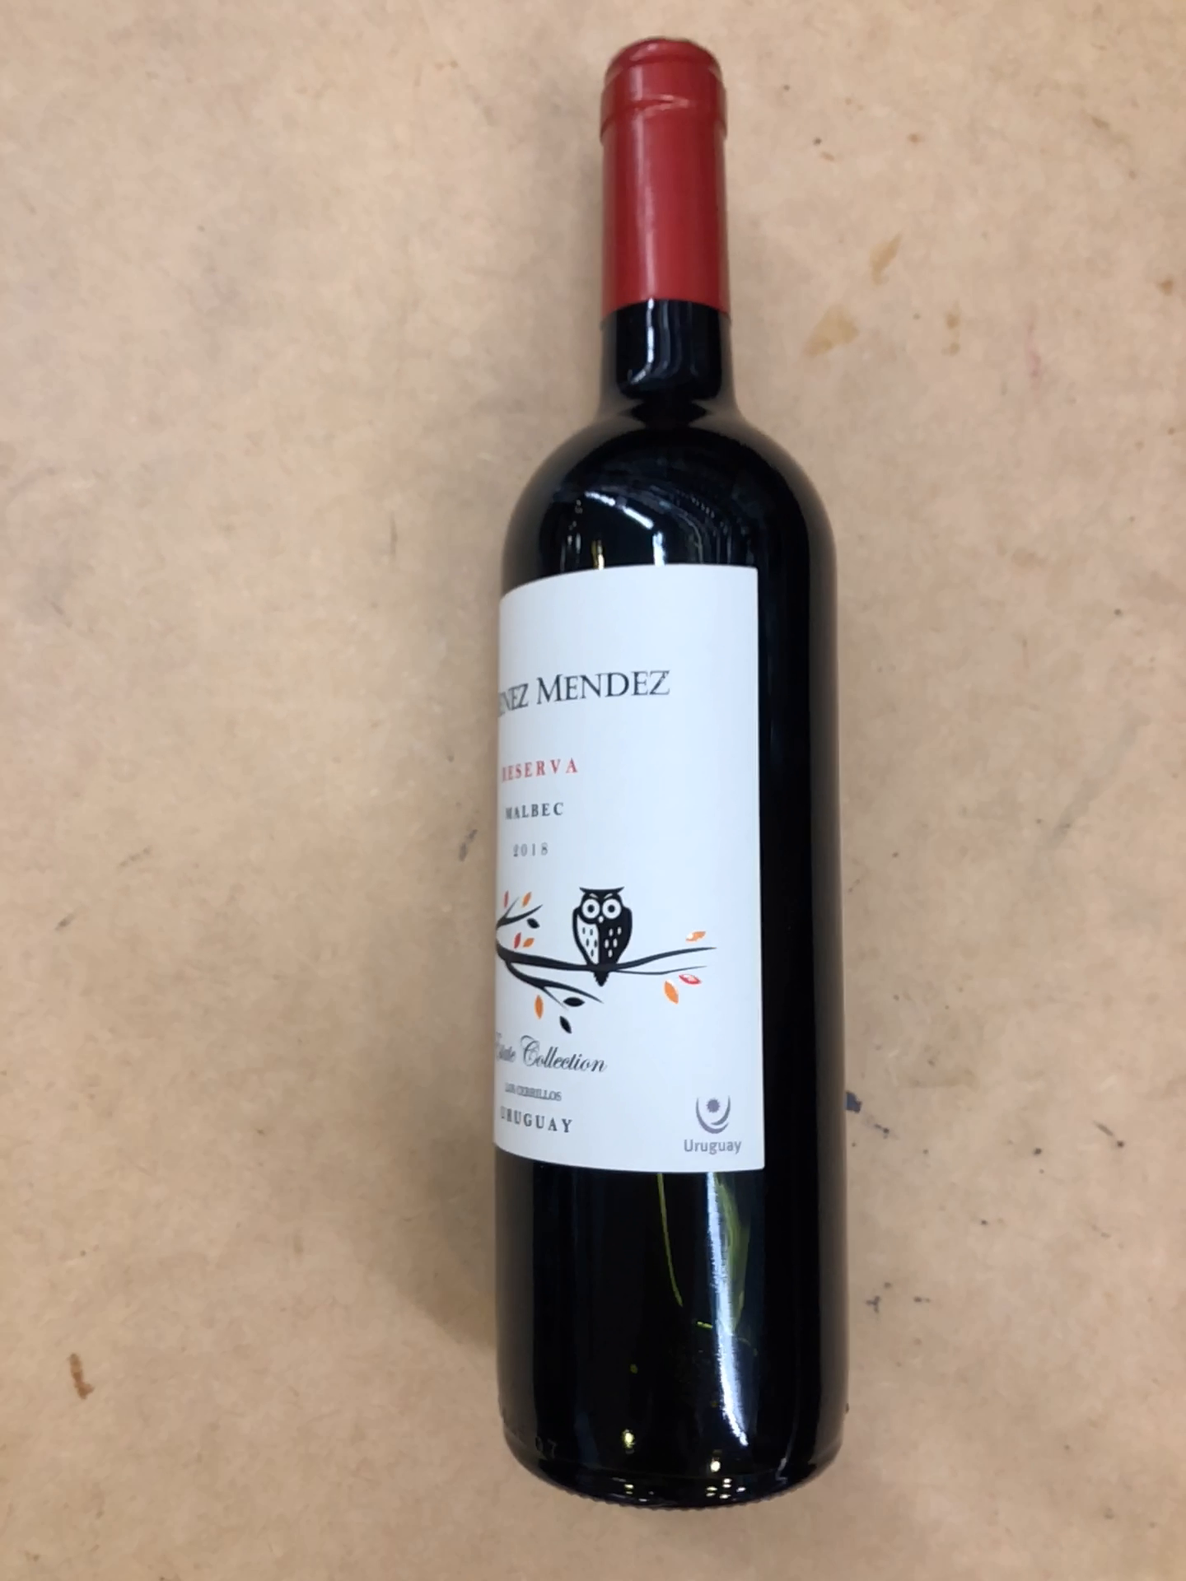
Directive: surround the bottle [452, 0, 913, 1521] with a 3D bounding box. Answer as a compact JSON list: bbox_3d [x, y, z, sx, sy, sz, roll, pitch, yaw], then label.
[{"bbox_3d":[0.013,-0.027,0.272,0.080,0.060,0.310,0,86,-4],"label":"bottle"}]
